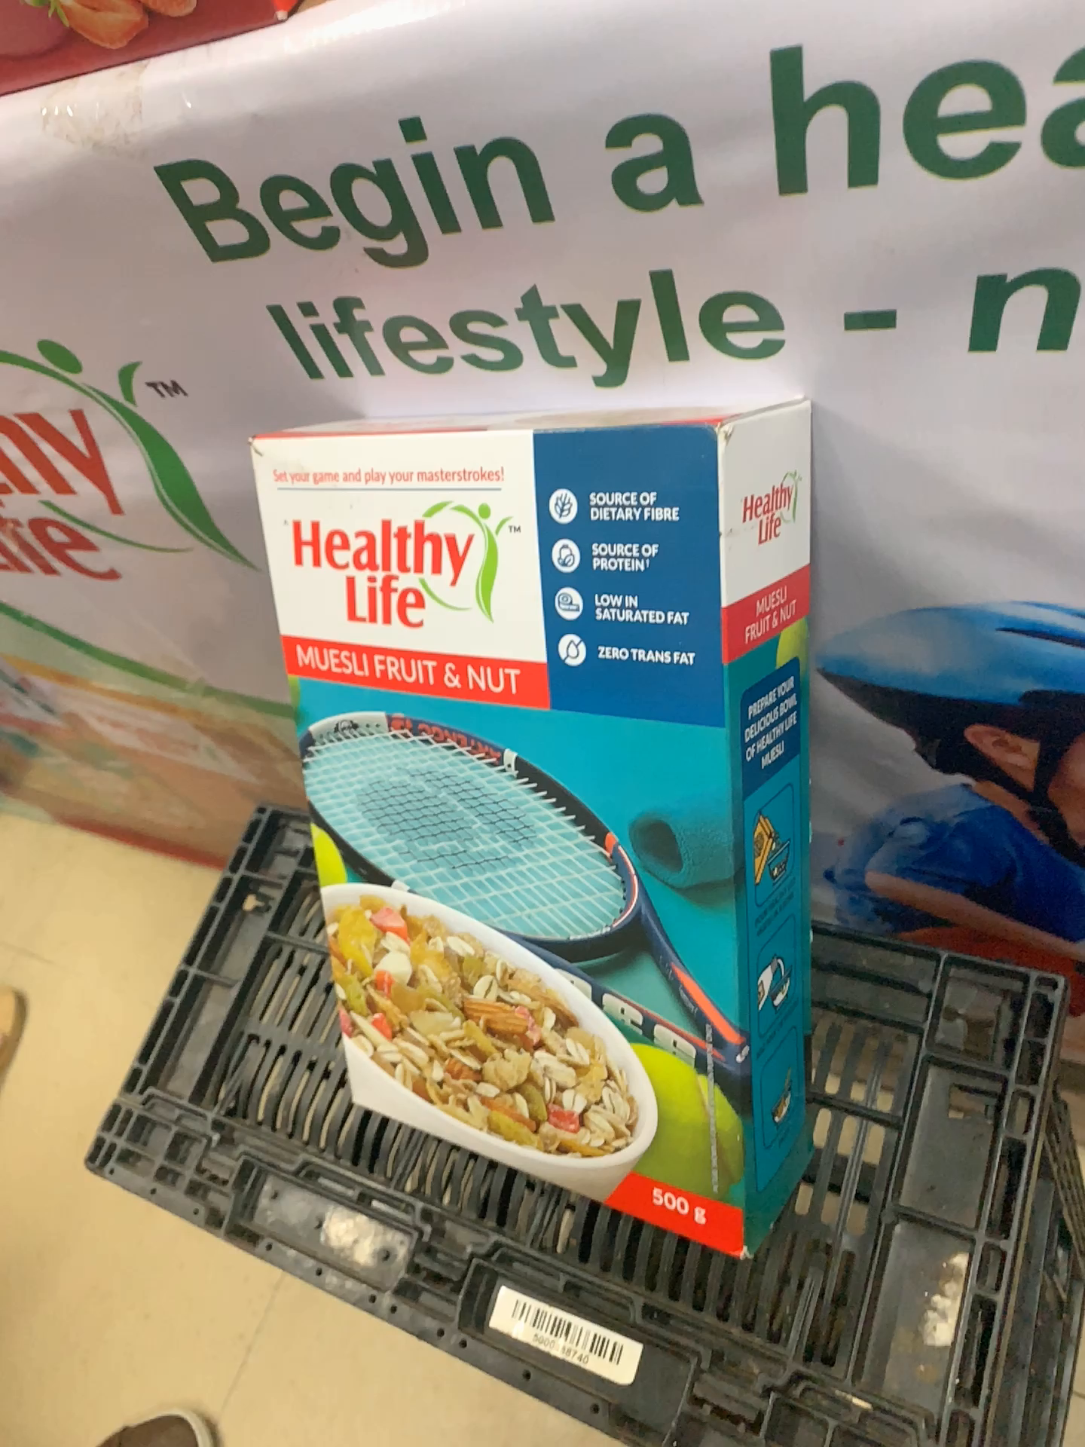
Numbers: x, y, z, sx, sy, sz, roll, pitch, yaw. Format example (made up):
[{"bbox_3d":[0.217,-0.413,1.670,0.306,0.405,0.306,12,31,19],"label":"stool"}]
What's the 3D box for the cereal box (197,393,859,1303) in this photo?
[{"bbox_3d":[-0.003,0.029,0.368,0.191,0.250,0.070,8,21,34],"label":"cereal box"}]
